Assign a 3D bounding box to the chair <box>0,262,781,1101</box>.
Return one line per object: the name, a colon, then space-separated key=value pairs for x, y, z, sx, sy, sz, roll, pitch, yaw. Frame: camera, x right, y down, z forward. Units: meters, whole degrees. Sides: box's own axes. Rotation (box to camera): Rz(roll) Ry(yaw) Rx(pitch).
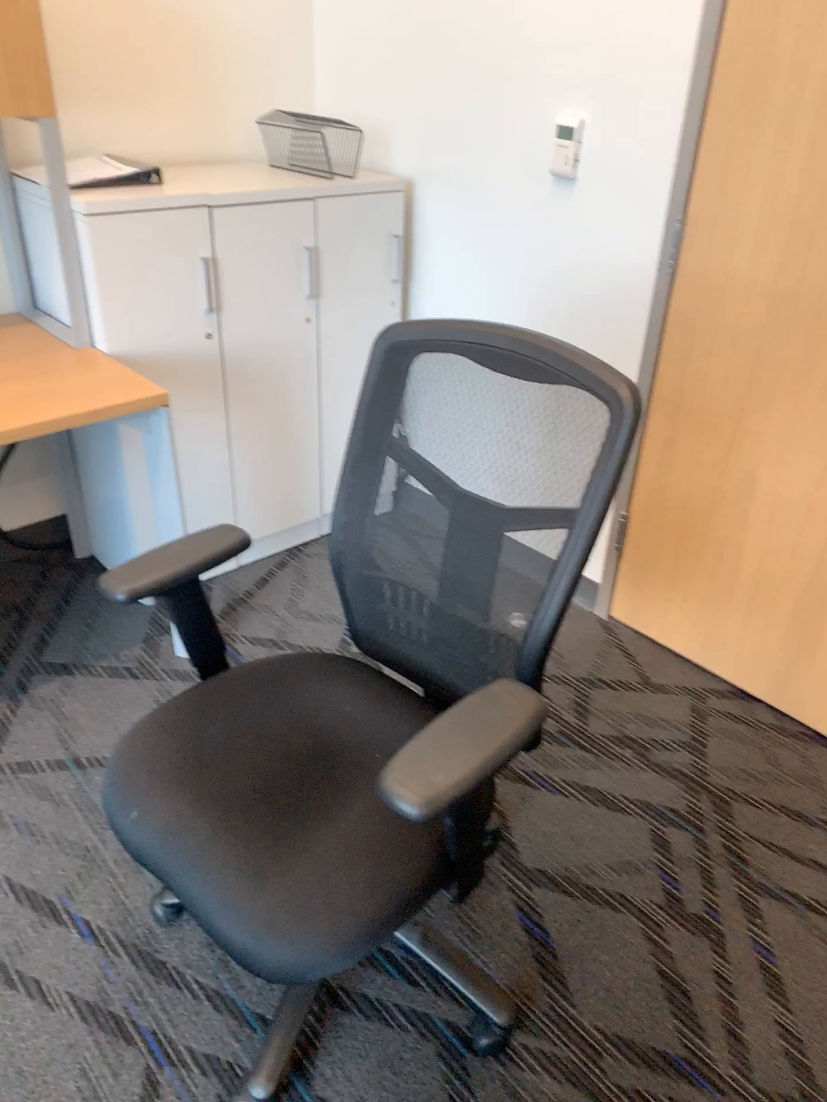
chair: x=-0.075 y=0.193 z=1.226 sx=0.722 sy=0.992 sz=0.663 roll=-23 pitch=38 yaw=-37
